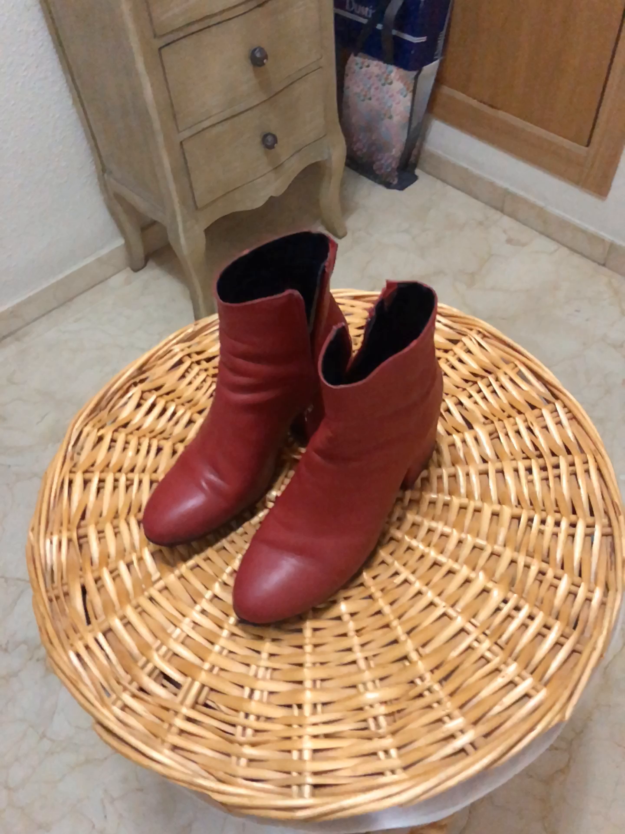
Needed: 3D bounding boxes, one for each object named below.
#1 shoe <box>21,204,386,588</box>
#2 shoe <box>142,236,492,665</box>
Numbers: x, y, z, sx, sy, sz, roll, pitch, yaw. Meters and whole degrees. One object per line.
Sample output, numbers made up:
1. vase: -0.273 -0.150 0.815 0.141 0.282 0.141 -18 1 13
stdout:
1. shoe: -0.064 -0.016 0.551 0.245 0.184 0.099 -38 59 -22
2. shoe: 0.018 0.023 0.512 0.099 0.184 0.245 28 60 23
